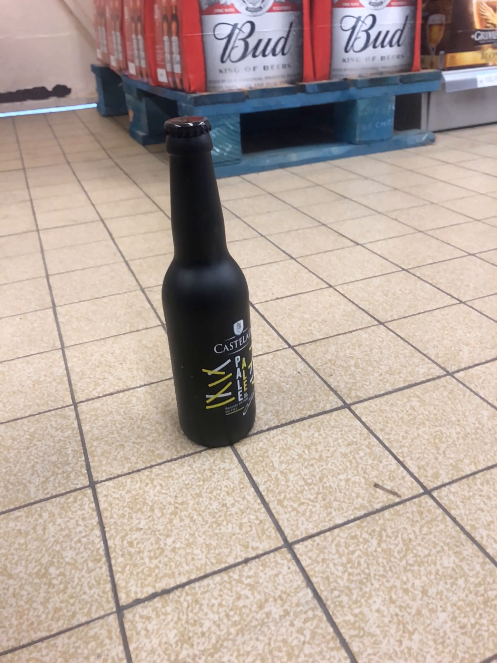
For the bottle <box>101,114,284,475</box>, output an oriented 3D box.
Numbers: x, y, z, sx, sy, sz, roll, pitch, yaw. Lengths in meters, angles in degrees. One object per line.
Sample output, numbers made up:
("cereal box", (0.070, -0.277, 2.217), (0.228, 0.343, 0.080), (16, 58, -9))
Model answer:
("bottle", (-0.028, -0.022, 0.364), (0.070, 0.219, 0.070), (-3, 28, 2))
